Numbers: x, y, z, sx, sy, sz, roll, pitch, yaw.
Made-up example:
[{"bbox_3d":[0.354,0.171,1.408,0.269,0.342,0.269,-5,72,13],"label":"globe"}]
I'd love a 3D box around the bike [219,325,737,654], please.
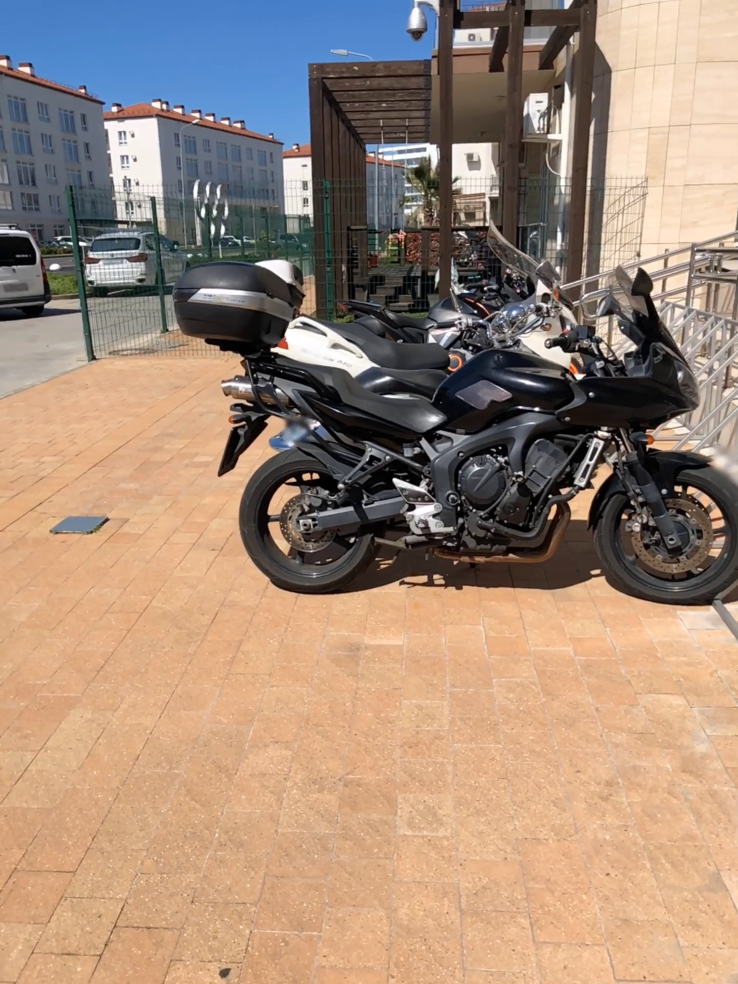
[{"bbox_3d":[0.435,-0.050,2.917,1.919,1.003,0.607,0,16,6],"label":"bike"}]
